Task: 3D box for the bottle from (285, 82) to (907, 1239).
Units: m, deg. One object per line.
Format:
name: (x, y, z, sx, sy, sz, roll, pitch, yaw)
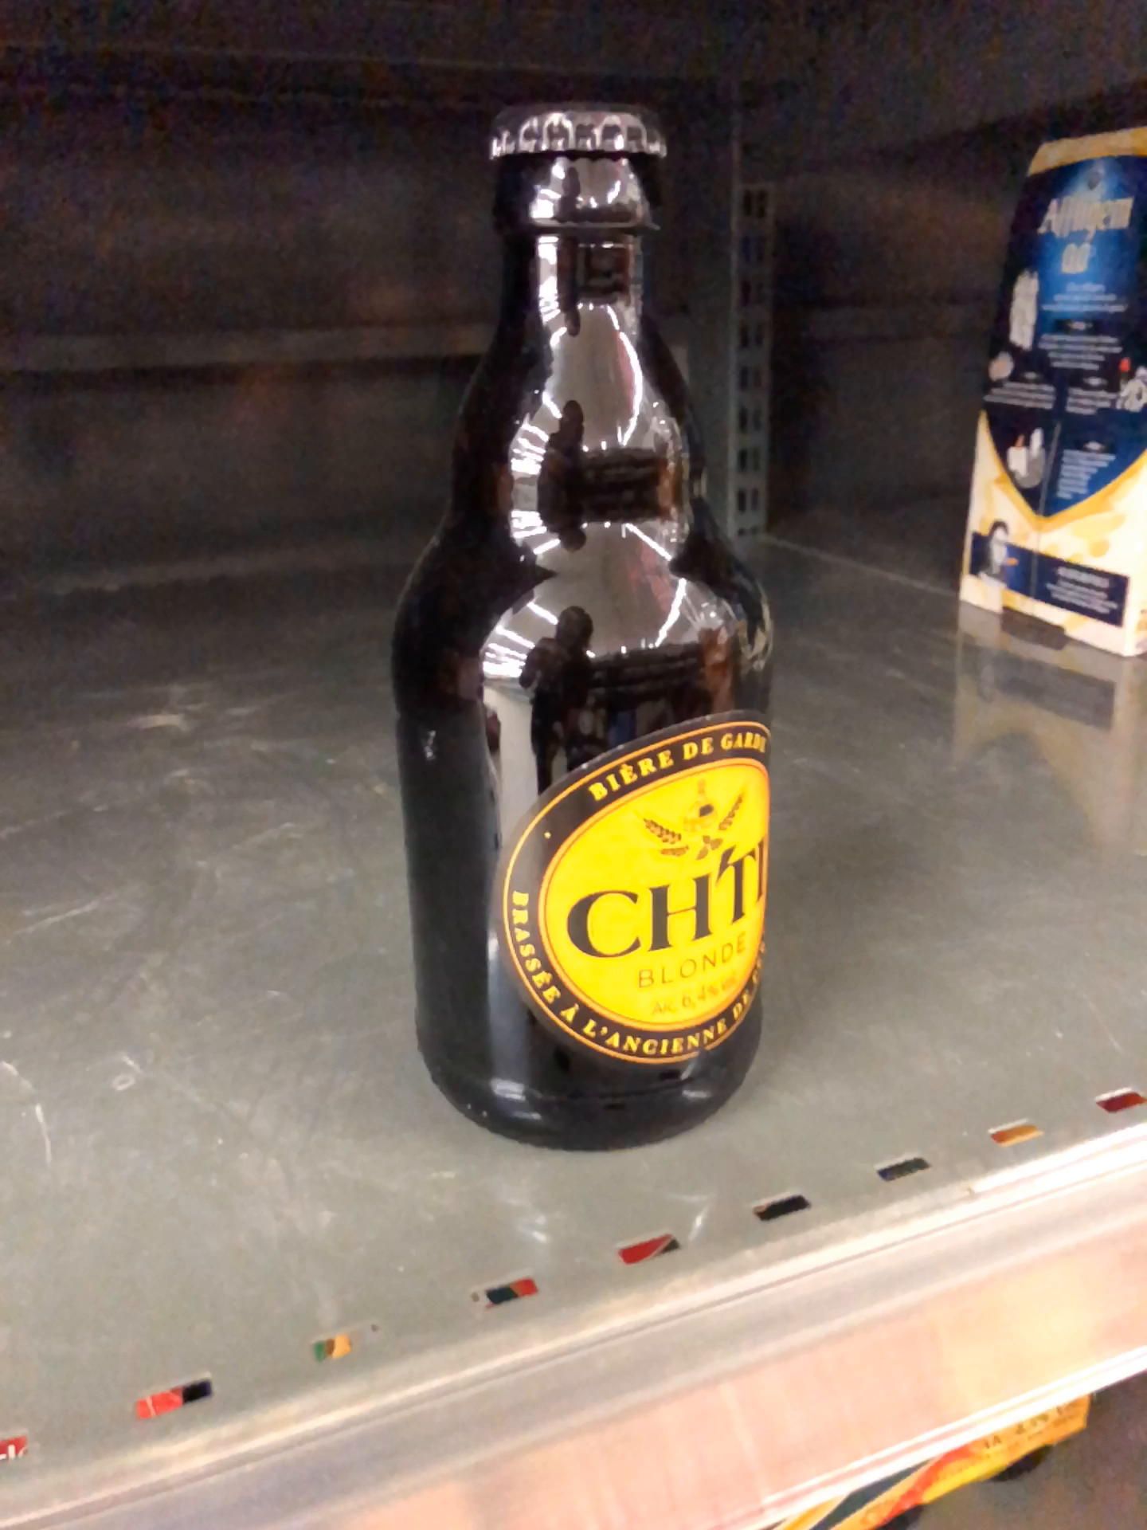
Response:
bottle: (0.003, -0.019, 0.226, 0.070, 0.169, 0.070, -2, 19, 1)
